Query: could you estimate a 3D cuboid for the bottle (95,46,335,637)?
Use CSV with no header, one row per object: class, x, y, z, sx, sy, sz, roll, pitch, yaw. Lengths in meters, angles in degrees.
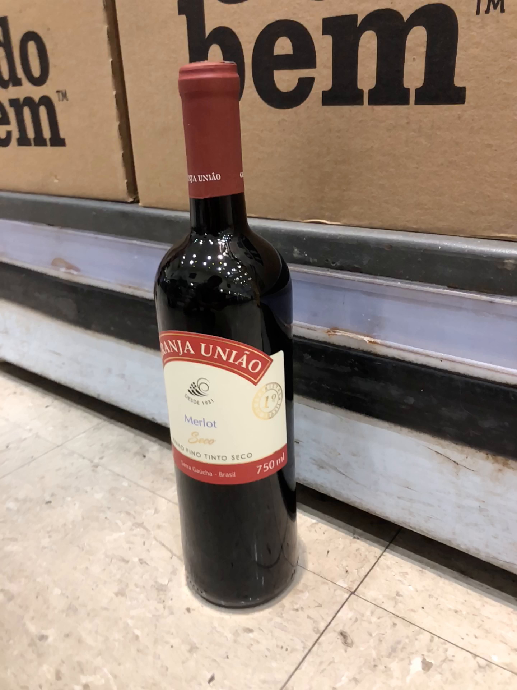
bottle,-0.009,0.007,0.318,0.080,0.298,0.080,-3,22,1
